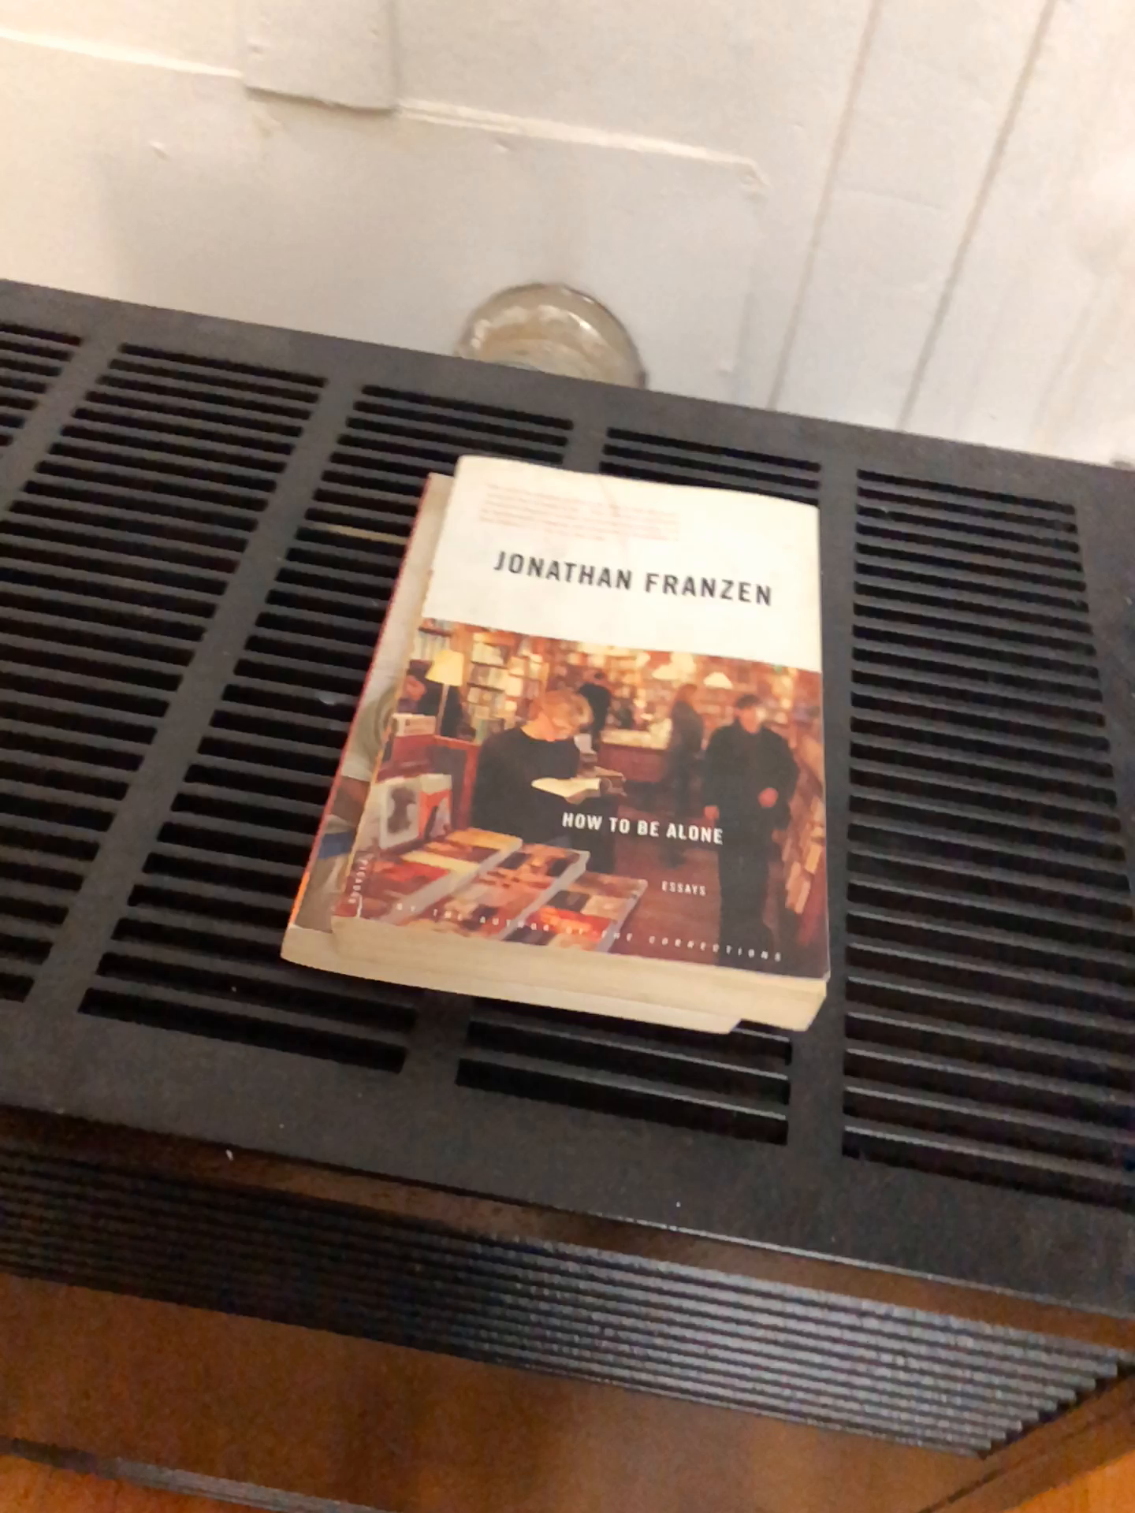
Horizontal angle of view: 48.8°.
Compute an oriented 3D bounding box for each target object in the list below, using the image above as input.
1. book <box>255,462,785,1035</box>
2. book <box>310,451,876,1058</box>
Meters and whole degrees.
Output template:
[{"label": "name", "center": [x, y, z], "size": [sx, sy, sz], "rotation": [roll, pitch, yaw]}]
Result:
[{"label": "book", "center": [-0.004, -0.016, 0.431], "size": [0.150, 0.030, 0.211], "rotation": [8, 50, 0]}, {"label": "book", "center": [0.016, -0.014, 0.408], "size": [0.150, 0.030, 0.211], "rotation": [8, 50, 0]}]
